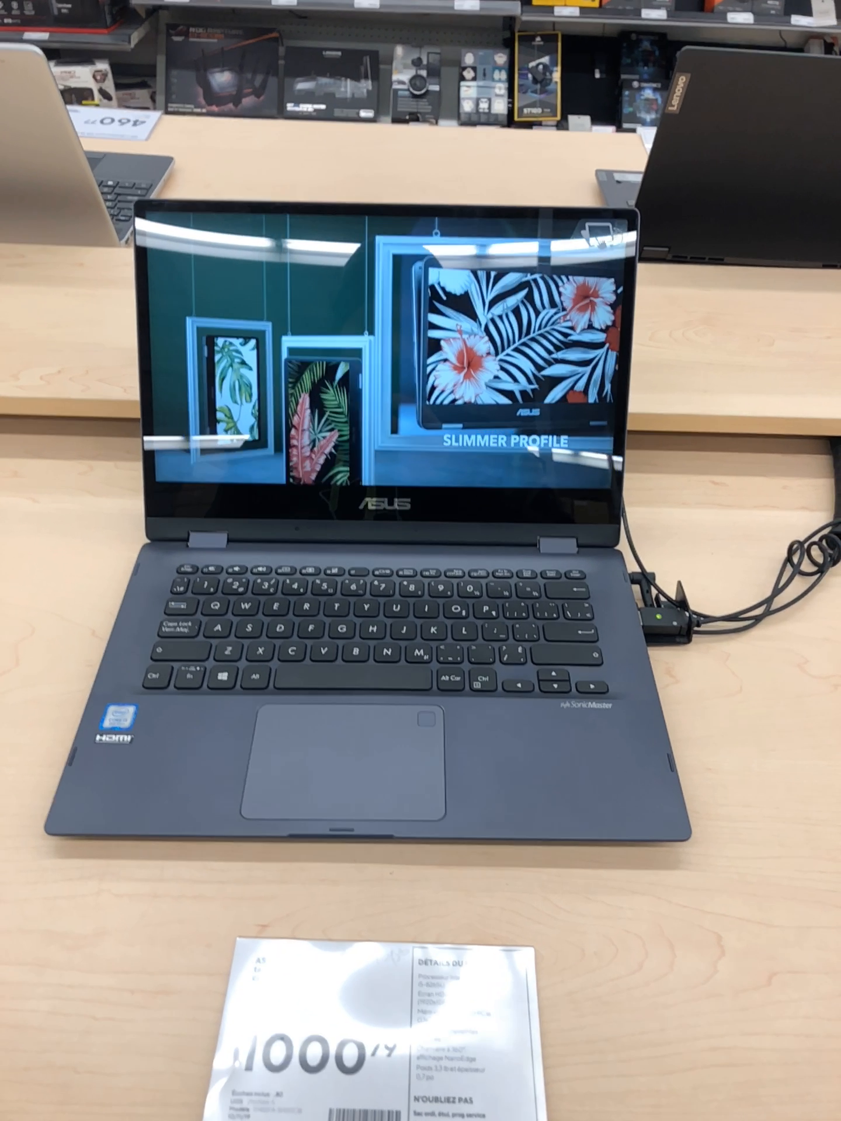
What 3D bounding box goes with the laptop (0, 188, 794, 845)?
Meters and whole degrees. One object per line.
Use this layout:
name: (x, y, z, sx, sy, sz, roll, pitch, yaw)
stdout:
laptop: (-0.025, -0.045, 0.529, 0.319, 0.184, 0.332, 2, 44, -1)
